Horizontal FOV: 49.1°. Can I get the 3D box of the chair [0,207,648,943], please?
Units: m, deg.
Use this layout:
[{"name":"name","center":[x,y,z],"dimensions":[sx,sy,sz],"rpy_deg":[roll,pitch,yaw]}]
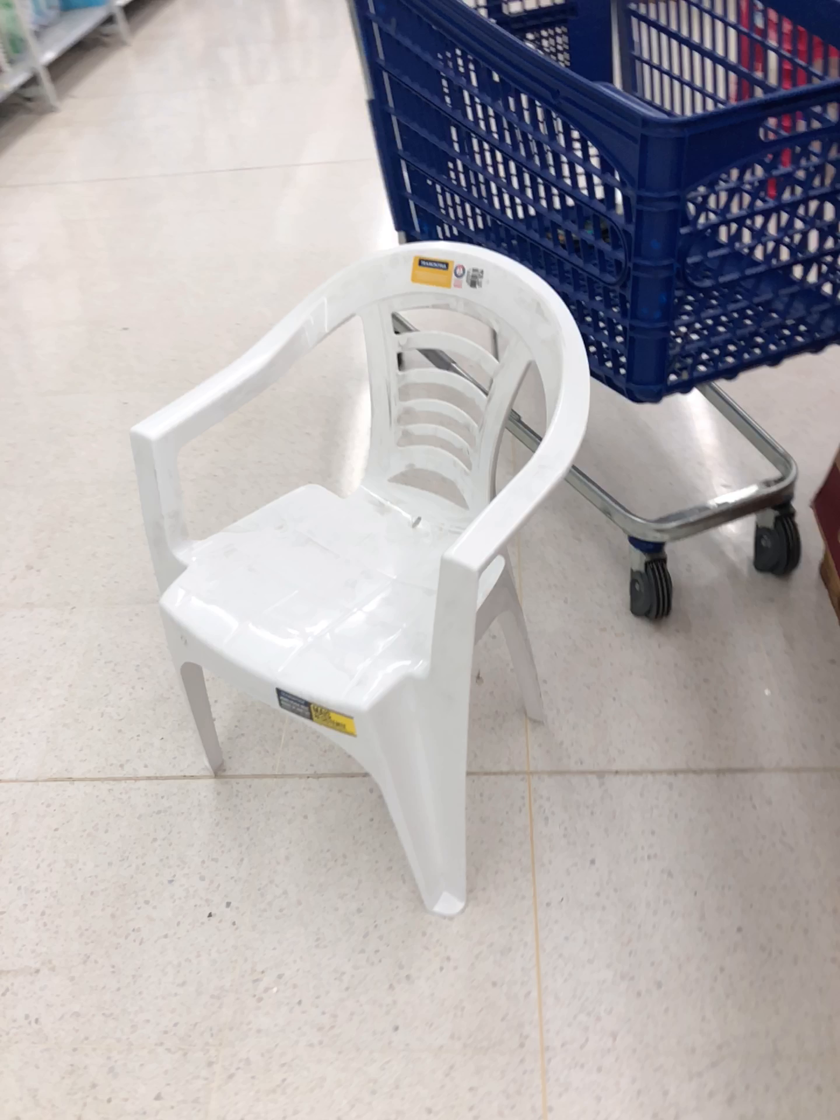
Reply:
[{"name":"chair","center":[-0.068,0.002,1.228],"dimensions":[0.522,0.695,0.502],"rpy_deg":[21,48,29]}]
